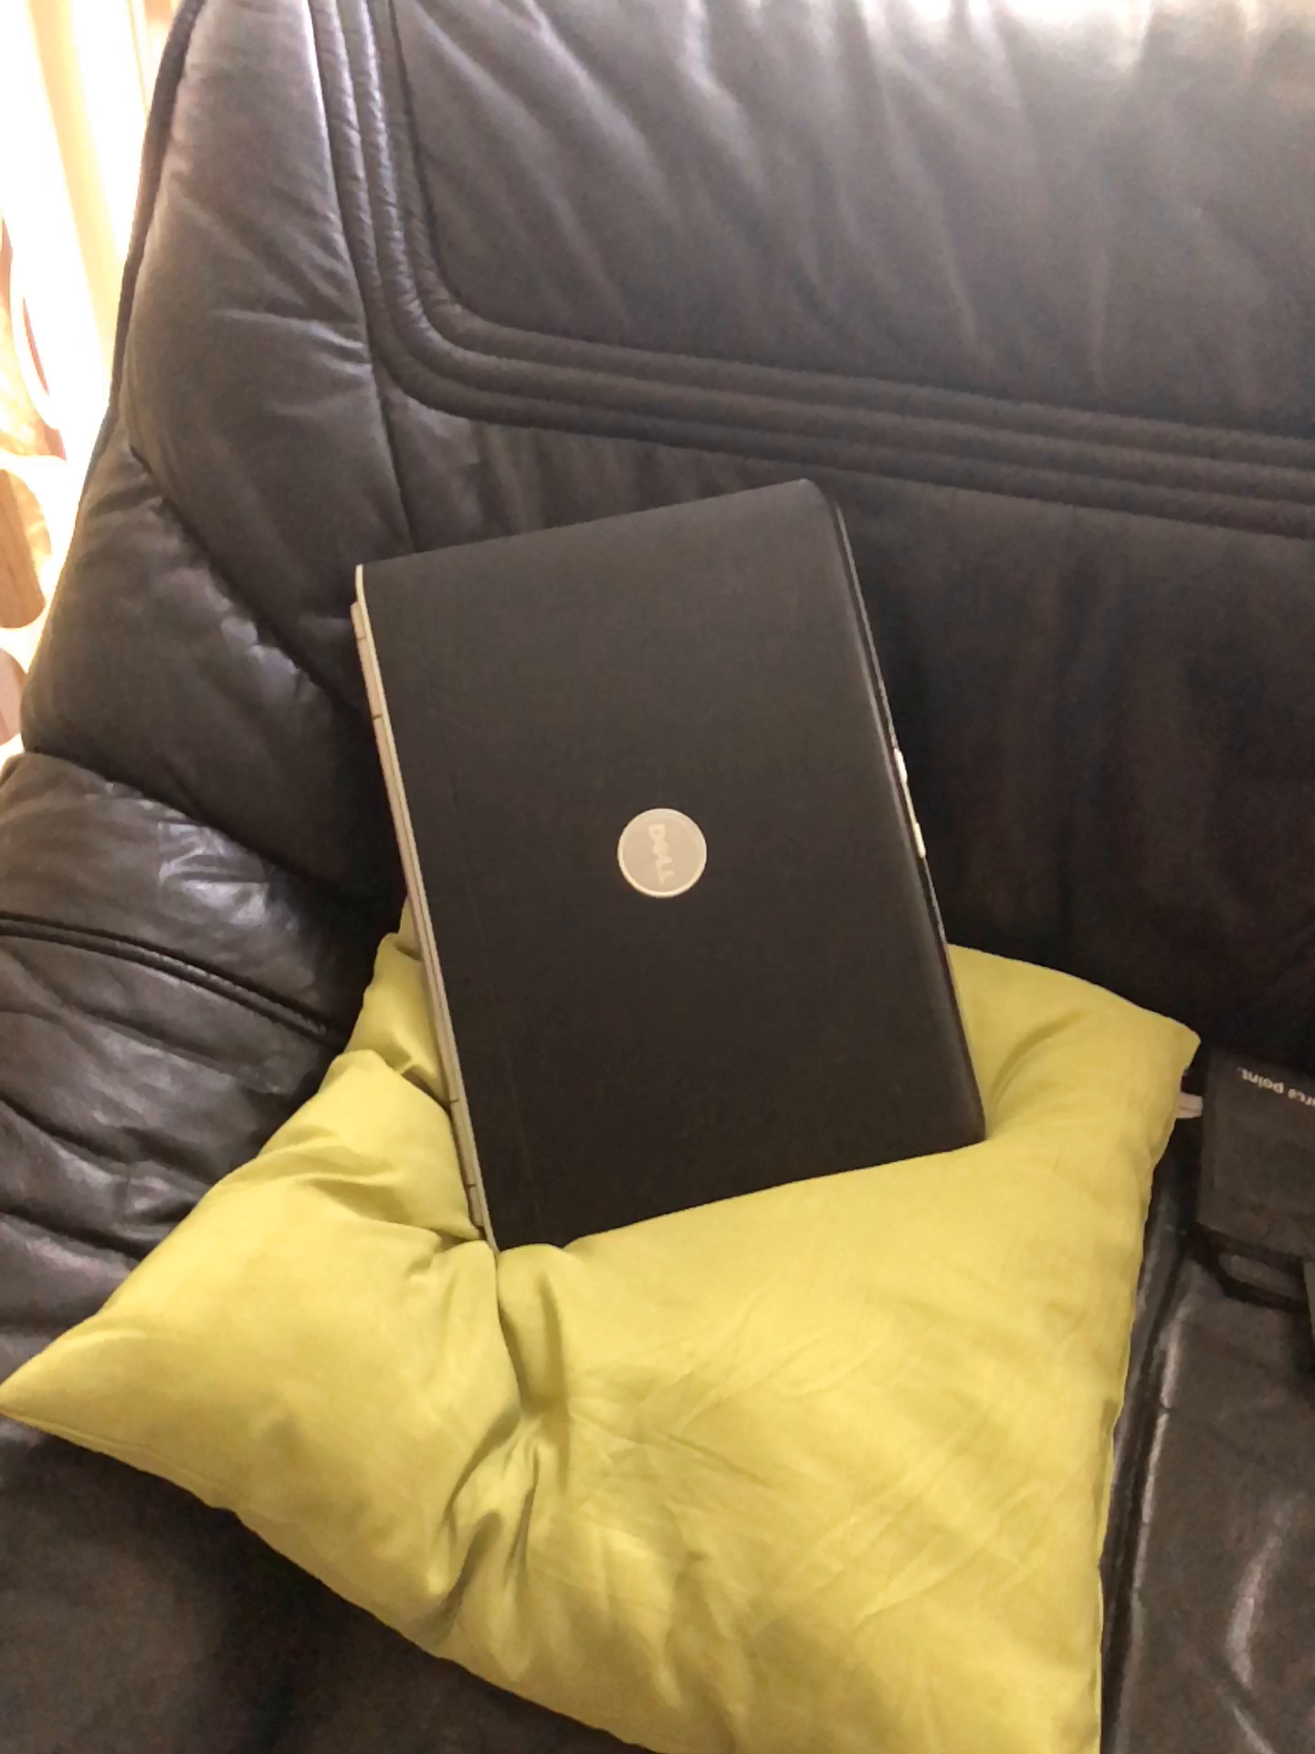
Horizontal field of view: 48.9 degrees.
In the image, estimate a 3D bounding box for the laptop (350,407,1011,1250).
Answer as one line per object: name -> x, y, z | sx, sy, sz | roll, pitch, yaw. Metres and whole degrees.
laptop -> 0.006, -0.028, 0.706 | 0.247, 0.033, 0.345 | -12, 82, -4
